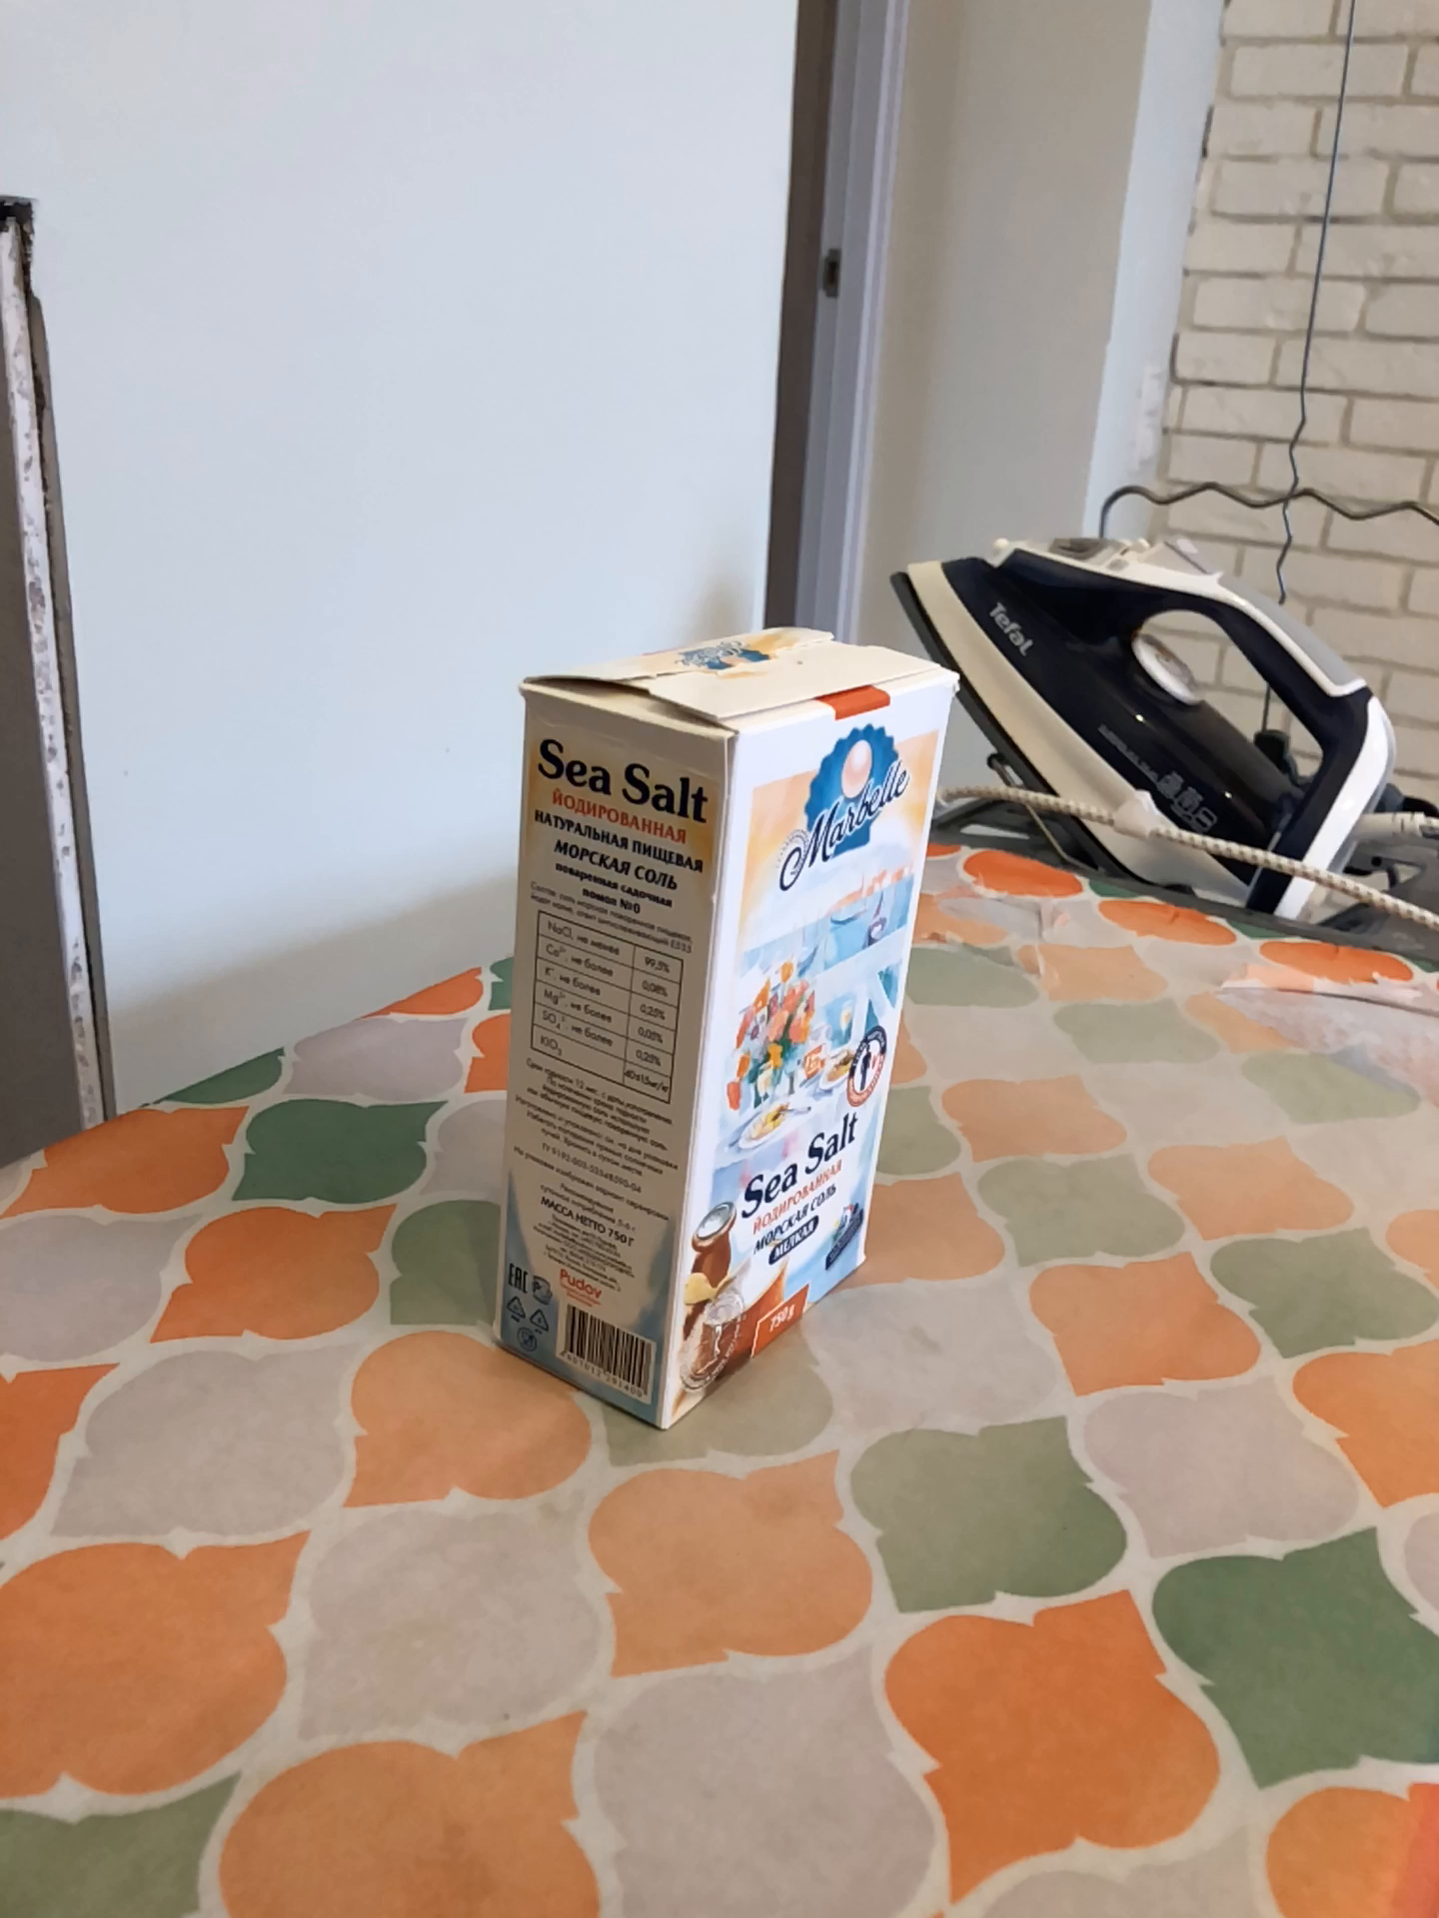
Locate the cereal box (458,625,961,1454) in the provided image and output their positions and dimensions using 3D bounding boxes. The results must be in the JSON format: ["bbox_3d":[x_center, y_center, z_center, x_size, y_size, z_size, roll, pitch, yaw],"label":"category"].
[{"bbox_3d":[-0.003,0.013,0.385,0.060,0.169,0.100,19,24,30],"label":"cereal box"}]
